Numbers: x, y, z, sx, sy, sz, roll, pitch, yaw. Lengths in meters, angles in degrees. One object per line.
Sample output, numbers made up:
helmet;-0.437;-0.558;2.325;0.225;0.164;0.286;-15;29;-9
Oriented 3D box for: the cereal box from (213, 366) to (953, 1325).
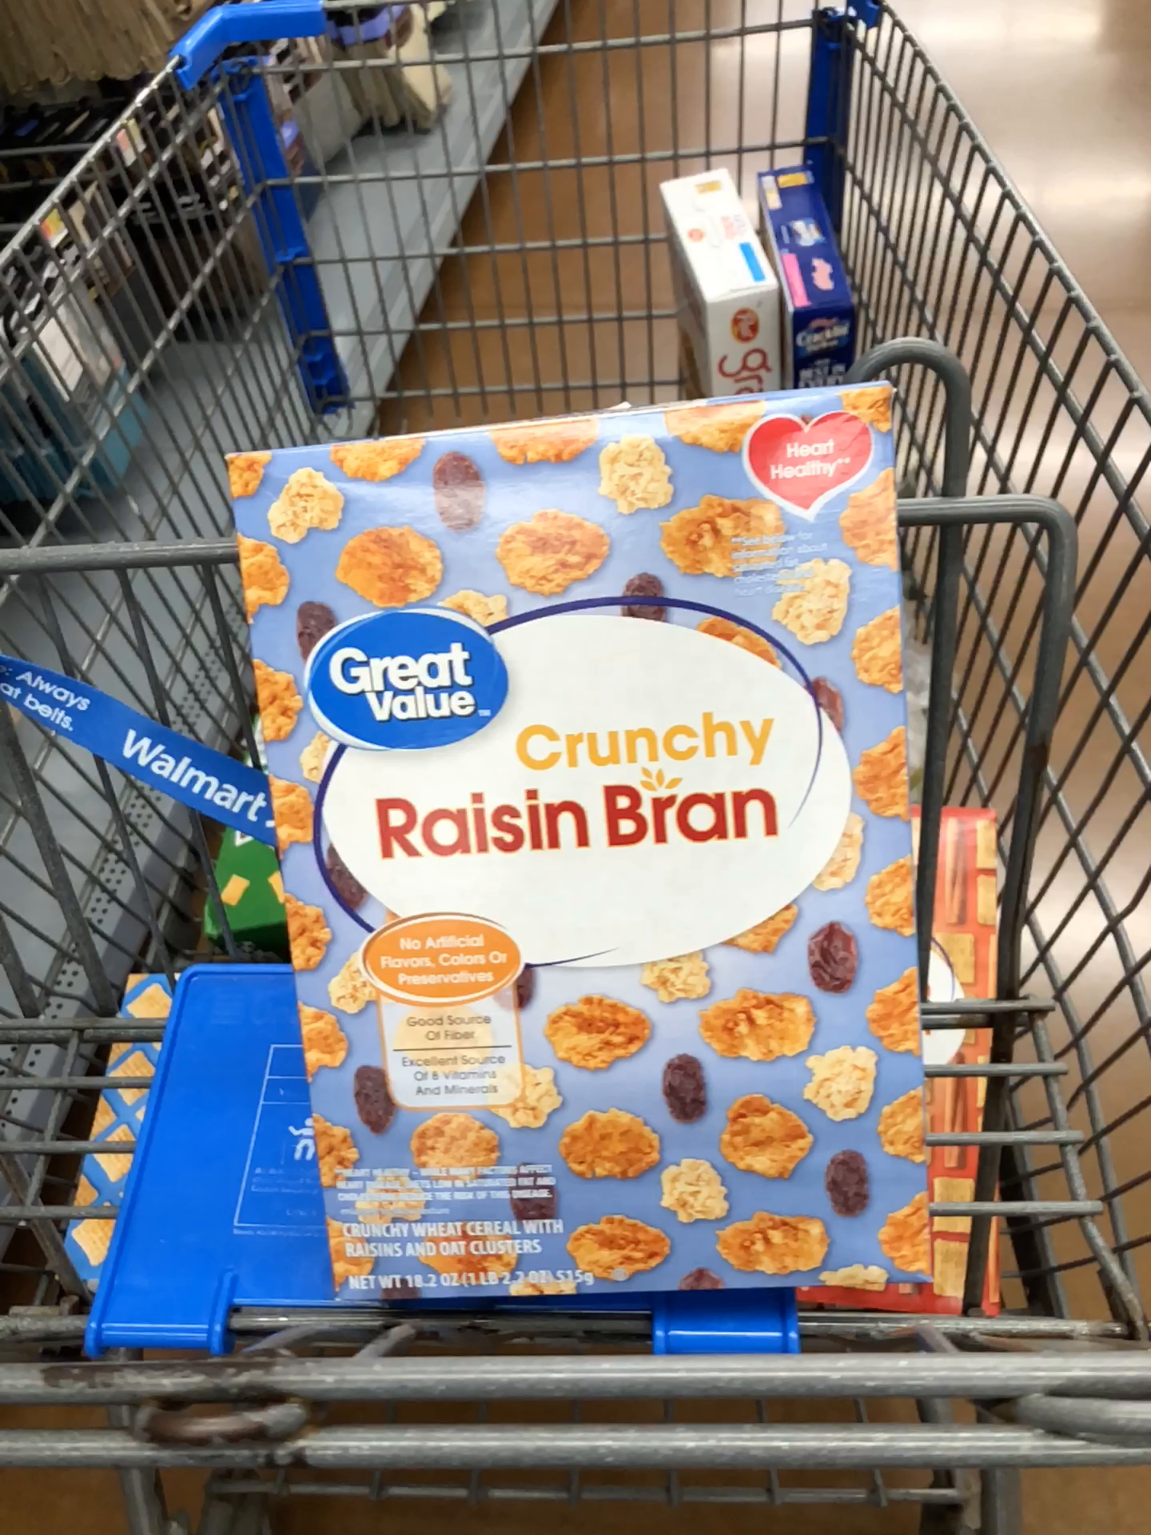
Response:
cereal box;0.008;0.028;0.416;0.200;0.280;0.070;-4;8;4
